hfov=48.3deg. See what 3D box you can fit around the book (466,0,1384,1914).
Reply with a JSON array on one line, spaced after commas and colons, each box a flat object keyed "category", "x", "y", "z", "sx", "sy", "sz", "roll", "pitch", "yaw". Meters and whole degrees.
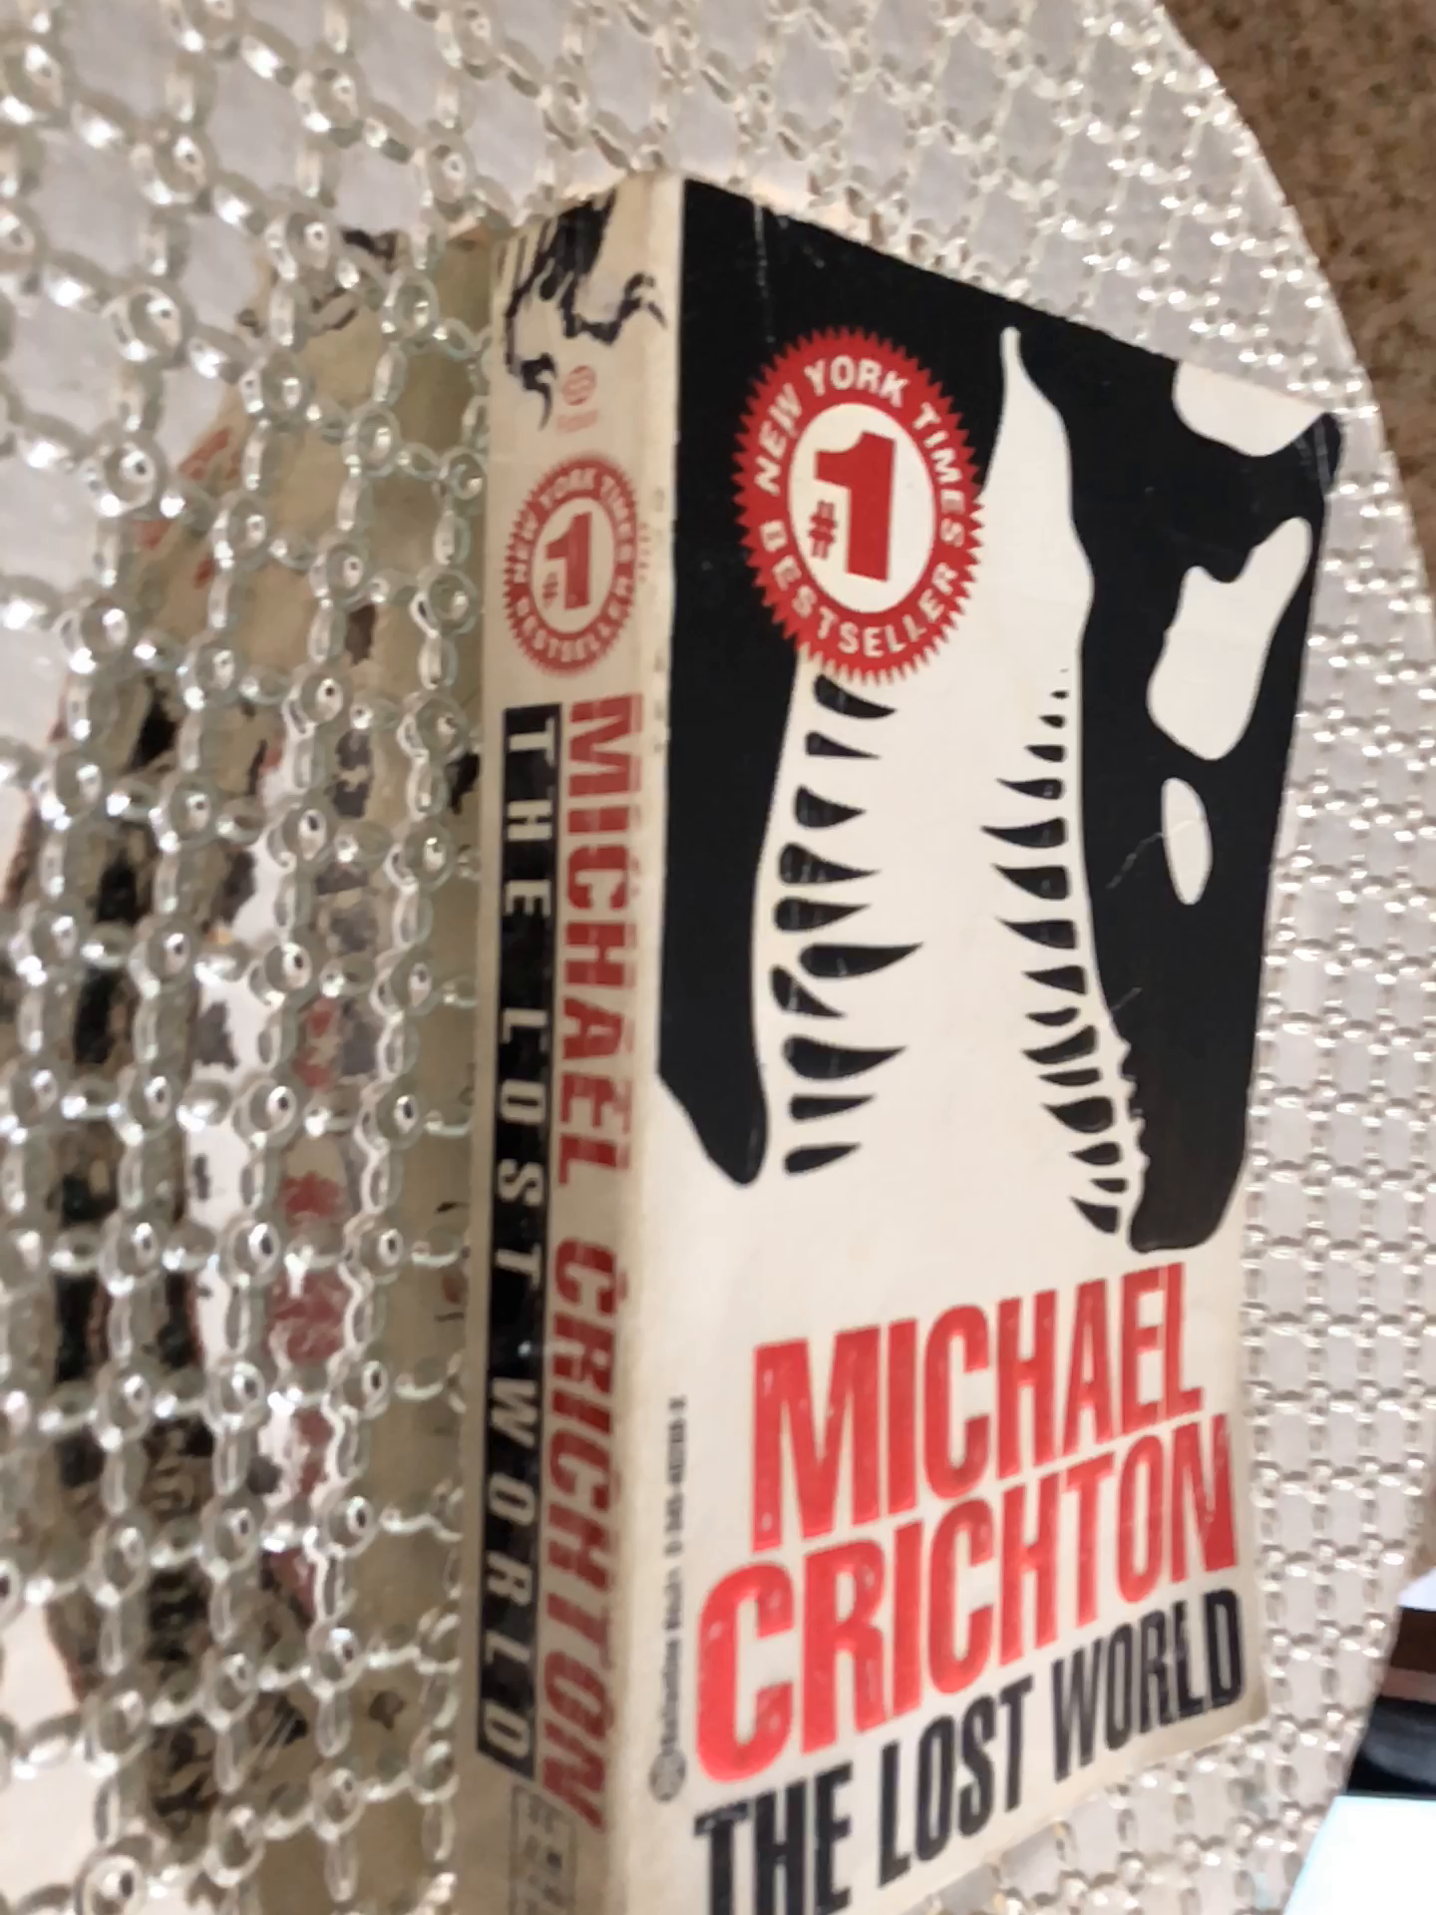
[{"category": "book", "x": 0.033, "y": 0.010, "z": 0.192, "sx": 0.119, "sy": 0.040, "sz": 0.182, "roll": 2, "pitch": 89, "yaw": -44}]
